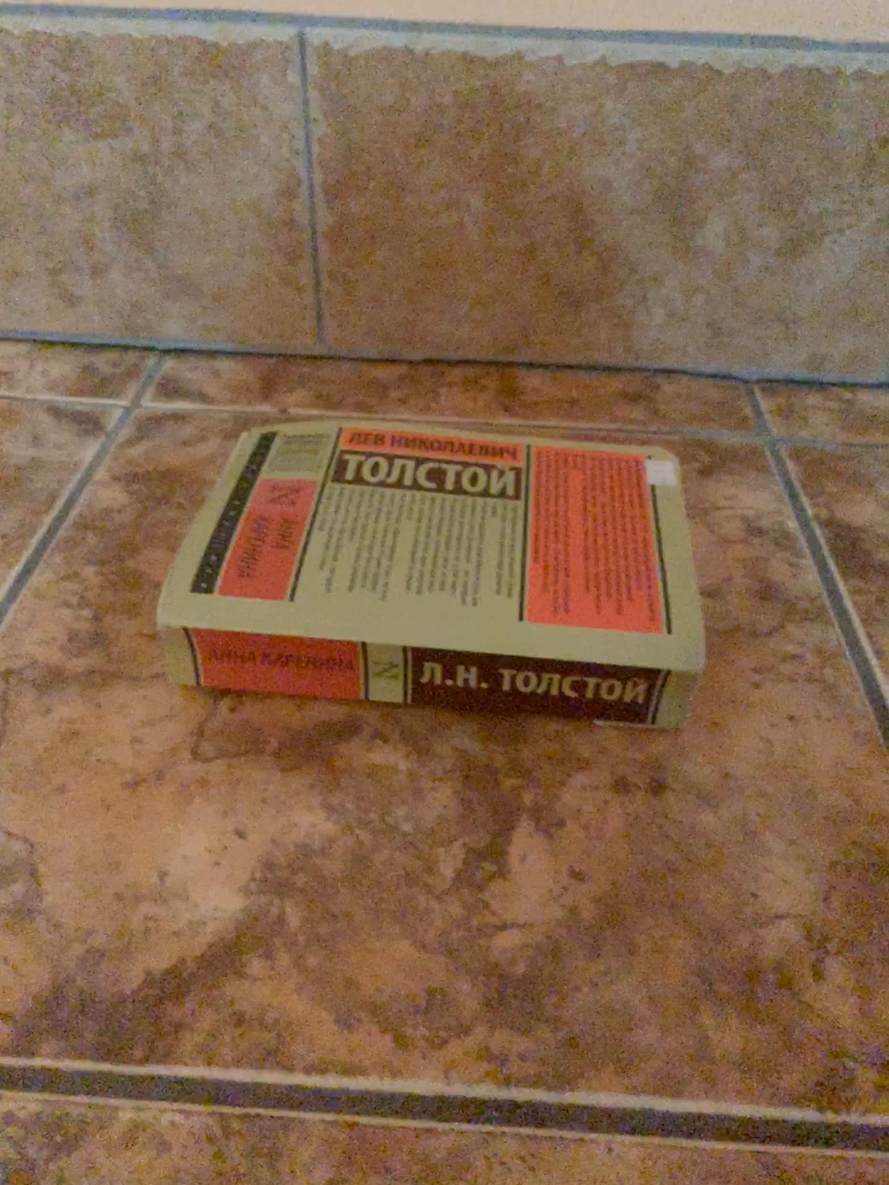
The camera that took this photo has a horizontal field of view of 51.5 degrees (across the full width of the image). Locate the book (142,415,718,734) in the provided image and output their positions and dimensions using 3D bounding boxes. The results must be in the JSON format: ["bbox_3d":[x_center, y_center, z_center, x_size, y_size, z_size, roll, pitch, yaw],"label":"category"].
[{"bbox_3d":[-0.002,-0.013,0.354,0.185,0.044,0.121,4,41,2],"label":"book"}]
